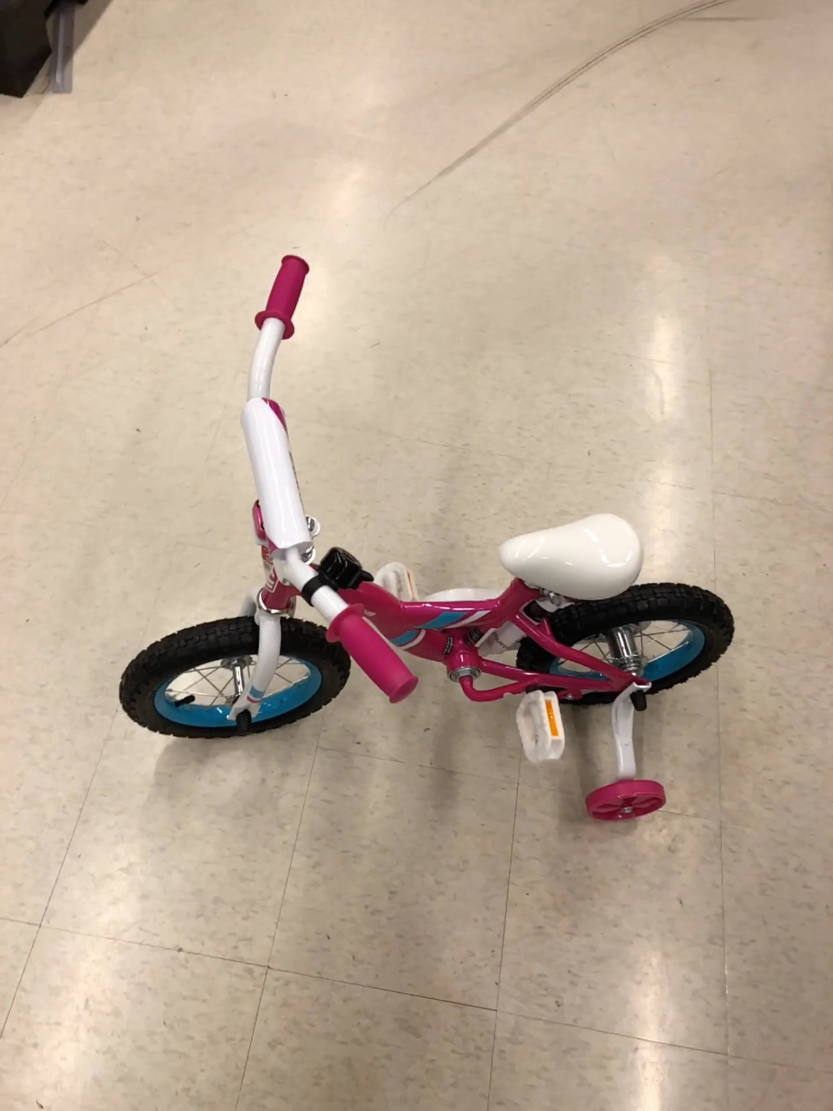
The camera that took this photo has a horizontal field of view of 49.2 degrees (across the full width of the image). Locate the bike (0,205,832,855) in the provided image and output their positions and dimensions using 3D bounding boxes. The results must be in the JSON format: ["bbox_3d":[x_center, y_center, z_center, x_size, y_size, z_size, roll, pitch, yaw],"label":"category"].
[{"bbox_3d":[0.037,0.016,1.097,0.814,0.625,0.463,-3,59,-11],"label":"bike"}]
